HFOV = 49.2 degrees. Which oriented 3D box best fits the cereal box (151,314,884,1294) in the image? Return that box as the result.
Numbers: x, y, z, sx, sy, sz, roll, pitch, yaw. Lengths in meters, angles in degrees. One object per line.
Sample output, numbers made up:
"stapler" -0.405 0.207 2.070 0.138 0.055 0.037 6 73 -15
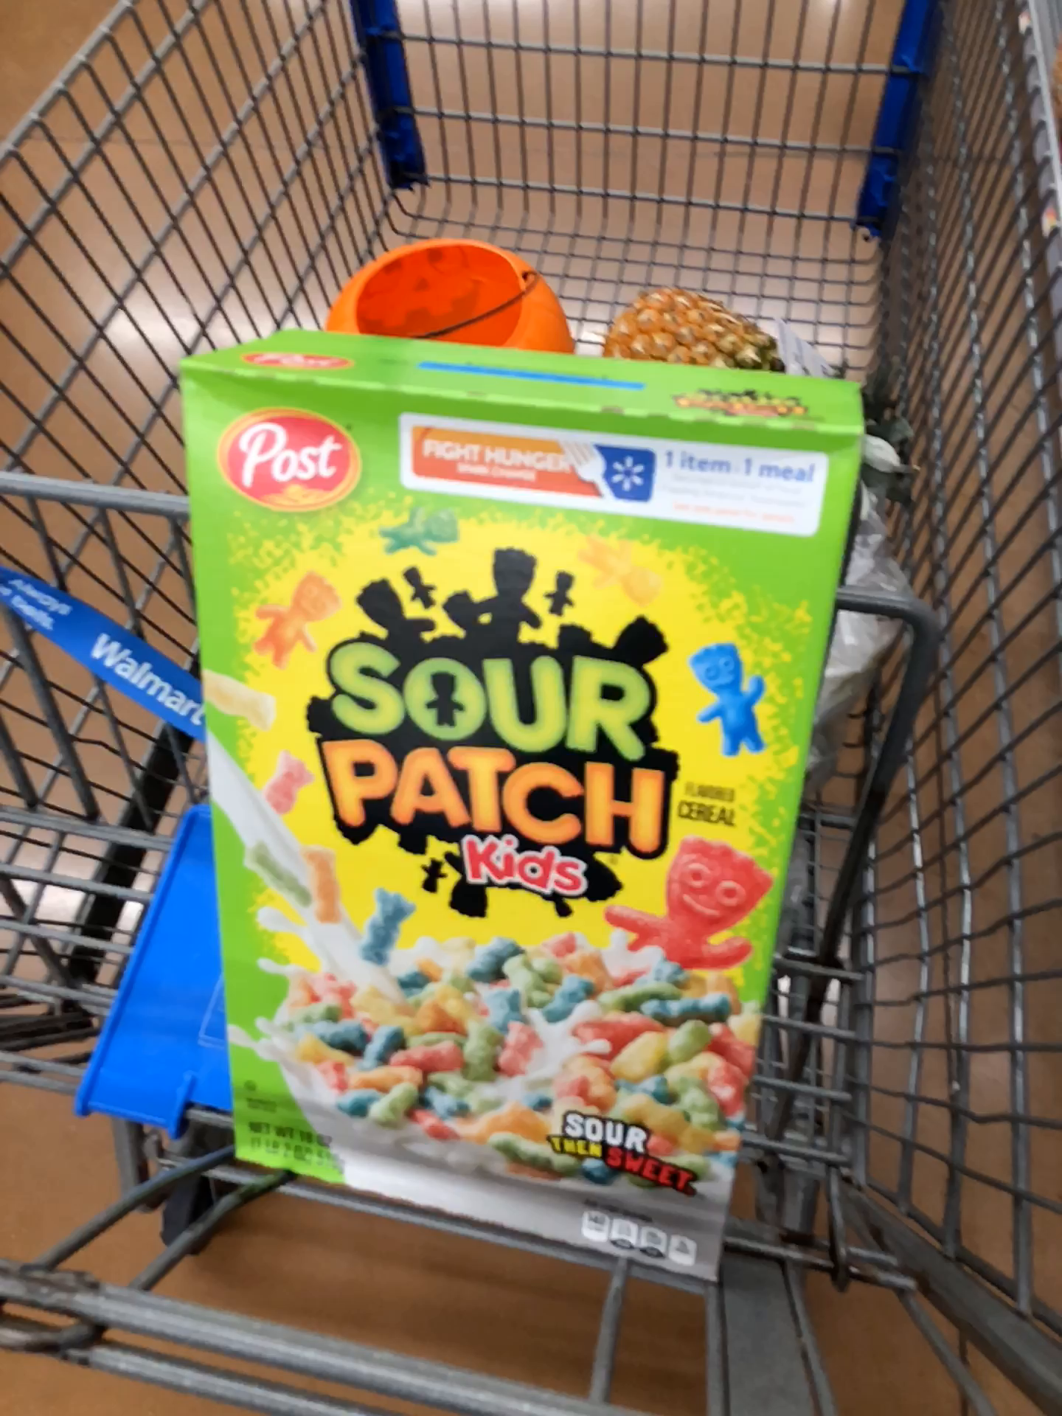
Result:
"cereal box" -0.007 0.040 0.410 0.200 0.320 0.080 8 26 11
